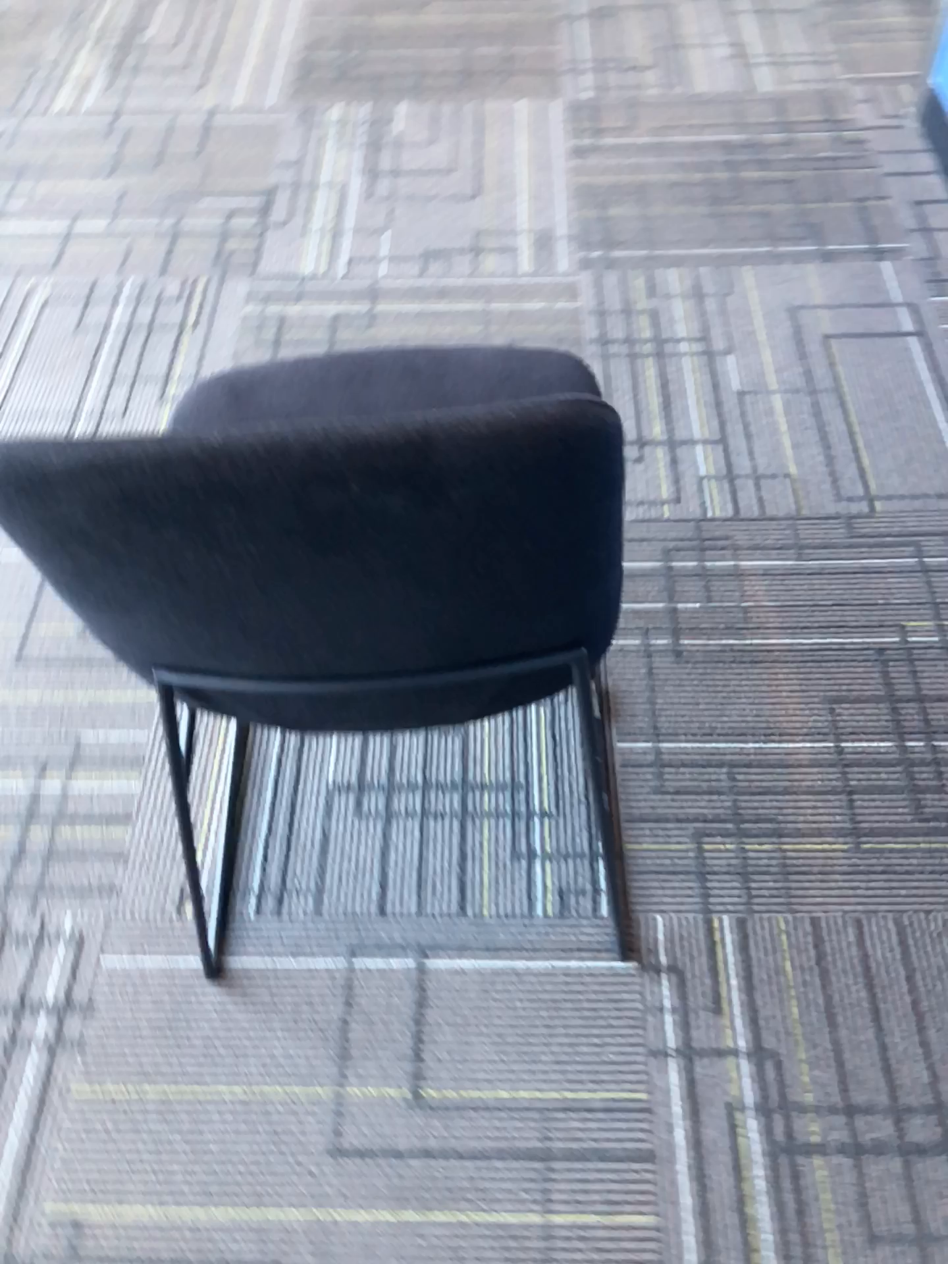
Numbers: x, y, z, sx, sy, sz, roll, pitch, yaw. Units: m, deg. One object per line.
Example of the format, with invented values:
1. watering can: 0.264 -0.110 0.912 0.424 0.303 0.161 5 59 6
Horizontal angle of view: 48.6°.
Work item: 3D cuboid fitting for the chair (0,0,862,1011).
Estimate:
1. chair: -0.115 -0.080 0.901 0.560 0.768 0.552 -3 54 1
